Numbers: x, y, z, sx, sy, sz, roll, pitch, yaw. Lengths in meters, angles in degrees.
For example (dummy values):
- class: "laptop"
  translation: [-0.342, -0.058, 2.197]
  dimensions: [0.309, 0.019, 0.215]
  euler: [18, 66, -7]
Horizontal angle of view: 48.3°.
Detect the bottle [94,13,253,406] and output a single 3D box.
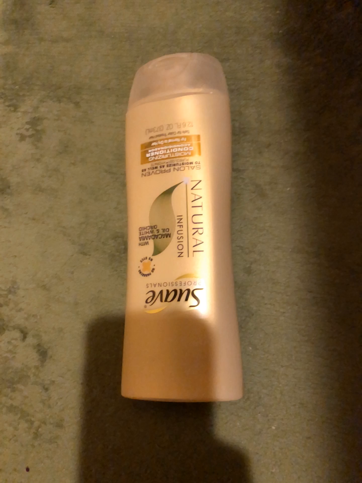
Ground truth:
- class: "bottle"
  translation: [-0.004, -0.020, 0.254]
  dimensions: [0.080, 0.050, 0.220]
  euler: [-5, 78, 17]
